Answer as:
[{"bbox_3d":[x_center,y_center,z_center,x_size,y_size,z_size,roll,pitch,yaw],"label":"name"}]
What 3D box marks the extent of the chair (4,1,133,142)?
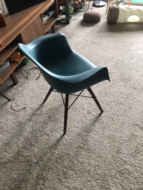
[{"bbox_3d":[-0.019,-0.155,1.230,0.562,0.785,0.582,-28,54,-15],"label":"chair"}]
